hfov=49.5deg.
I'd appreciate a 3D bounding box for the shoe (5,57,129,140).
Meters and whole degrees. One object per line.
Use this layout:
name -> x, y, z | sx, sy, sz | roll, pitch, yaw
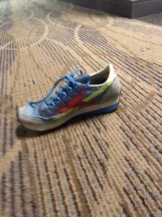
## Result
shoe -> -0.029, -0.031, 0.423 | 0.260, 0.095, 0.101 | -16, 37, -8
